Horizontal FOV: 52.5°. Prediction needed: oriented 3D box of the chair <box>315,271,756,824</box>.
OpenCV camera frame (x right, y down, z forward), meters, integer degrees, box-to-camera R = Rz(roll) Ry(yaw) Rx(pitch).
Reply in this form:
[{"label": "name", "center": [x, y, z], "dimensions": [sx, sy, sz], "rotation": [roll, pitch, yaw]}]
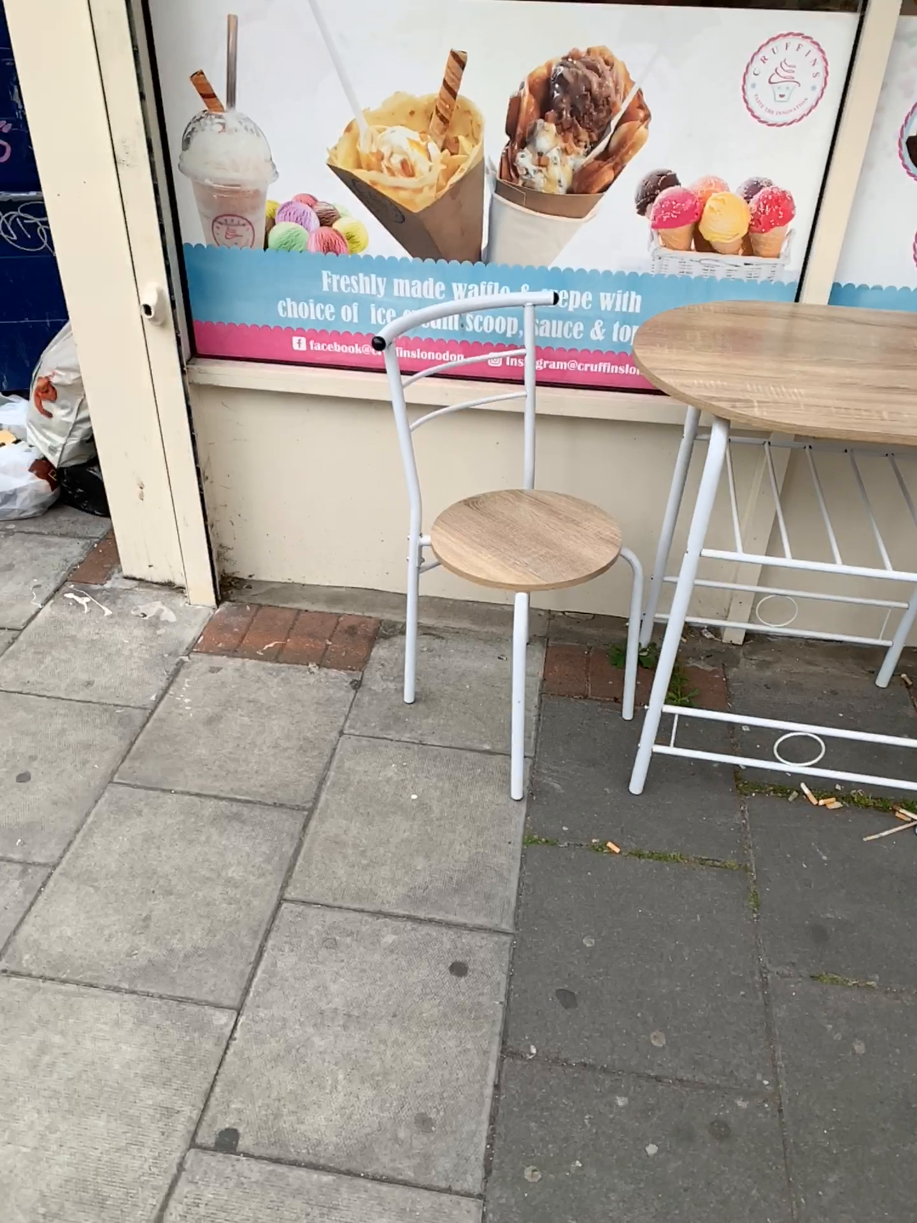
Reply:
[{"label": "chair", "center": [0.123, -0.147, 1.731], "dimensions": [0.502, 0.752, 0.533], "rotation": [28, 42, 33]}]
